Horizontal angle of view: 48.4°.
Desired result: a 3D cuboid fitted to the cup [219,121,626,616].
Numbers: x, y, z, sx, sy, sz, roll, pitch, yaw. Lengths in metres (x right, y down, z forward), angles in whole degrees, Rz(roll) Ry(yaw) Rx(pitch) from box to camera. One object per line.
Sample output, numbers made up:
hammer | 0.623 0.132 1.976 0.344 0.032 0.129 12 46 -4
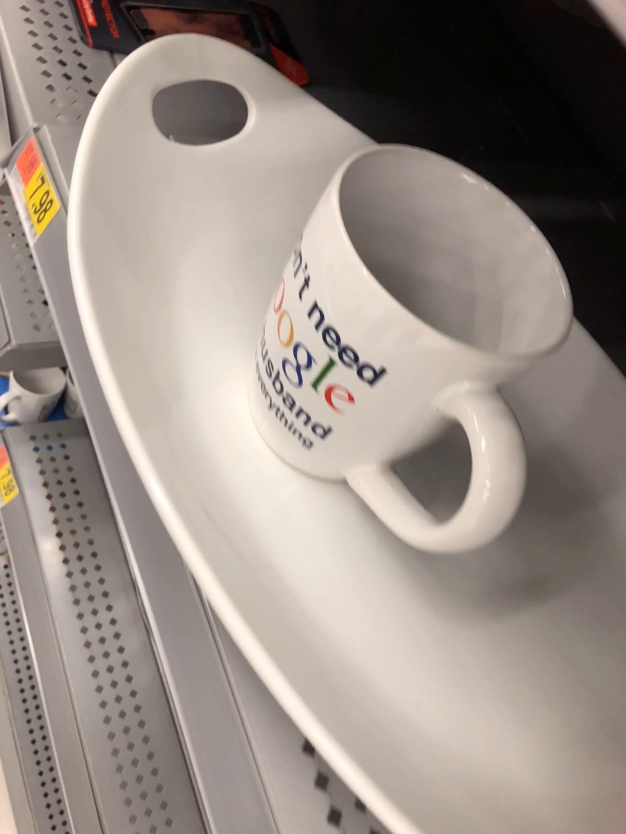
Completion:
cup | 0.040 -0.016 0.290 0.104 0.108 0.154 -1 61 -28
